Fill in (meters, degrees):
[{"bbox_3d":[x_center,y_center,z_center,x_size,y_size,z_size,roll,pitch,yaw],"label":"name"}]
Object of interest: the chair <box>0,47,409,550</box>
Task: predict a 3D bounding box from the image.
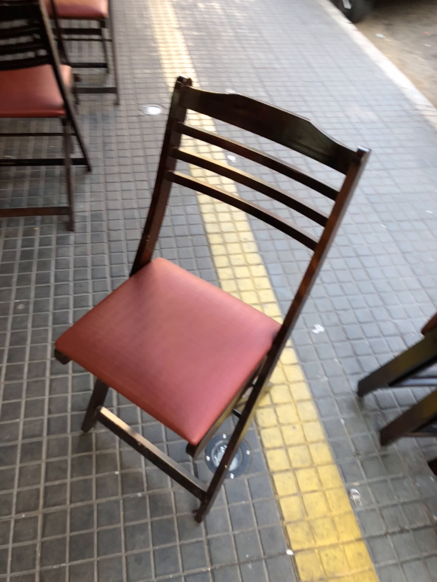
[{"bbox_3d":[-0.067,0.062,1.019,0.511,0.844,0.482,29,53,21],"label":"chair"}]
